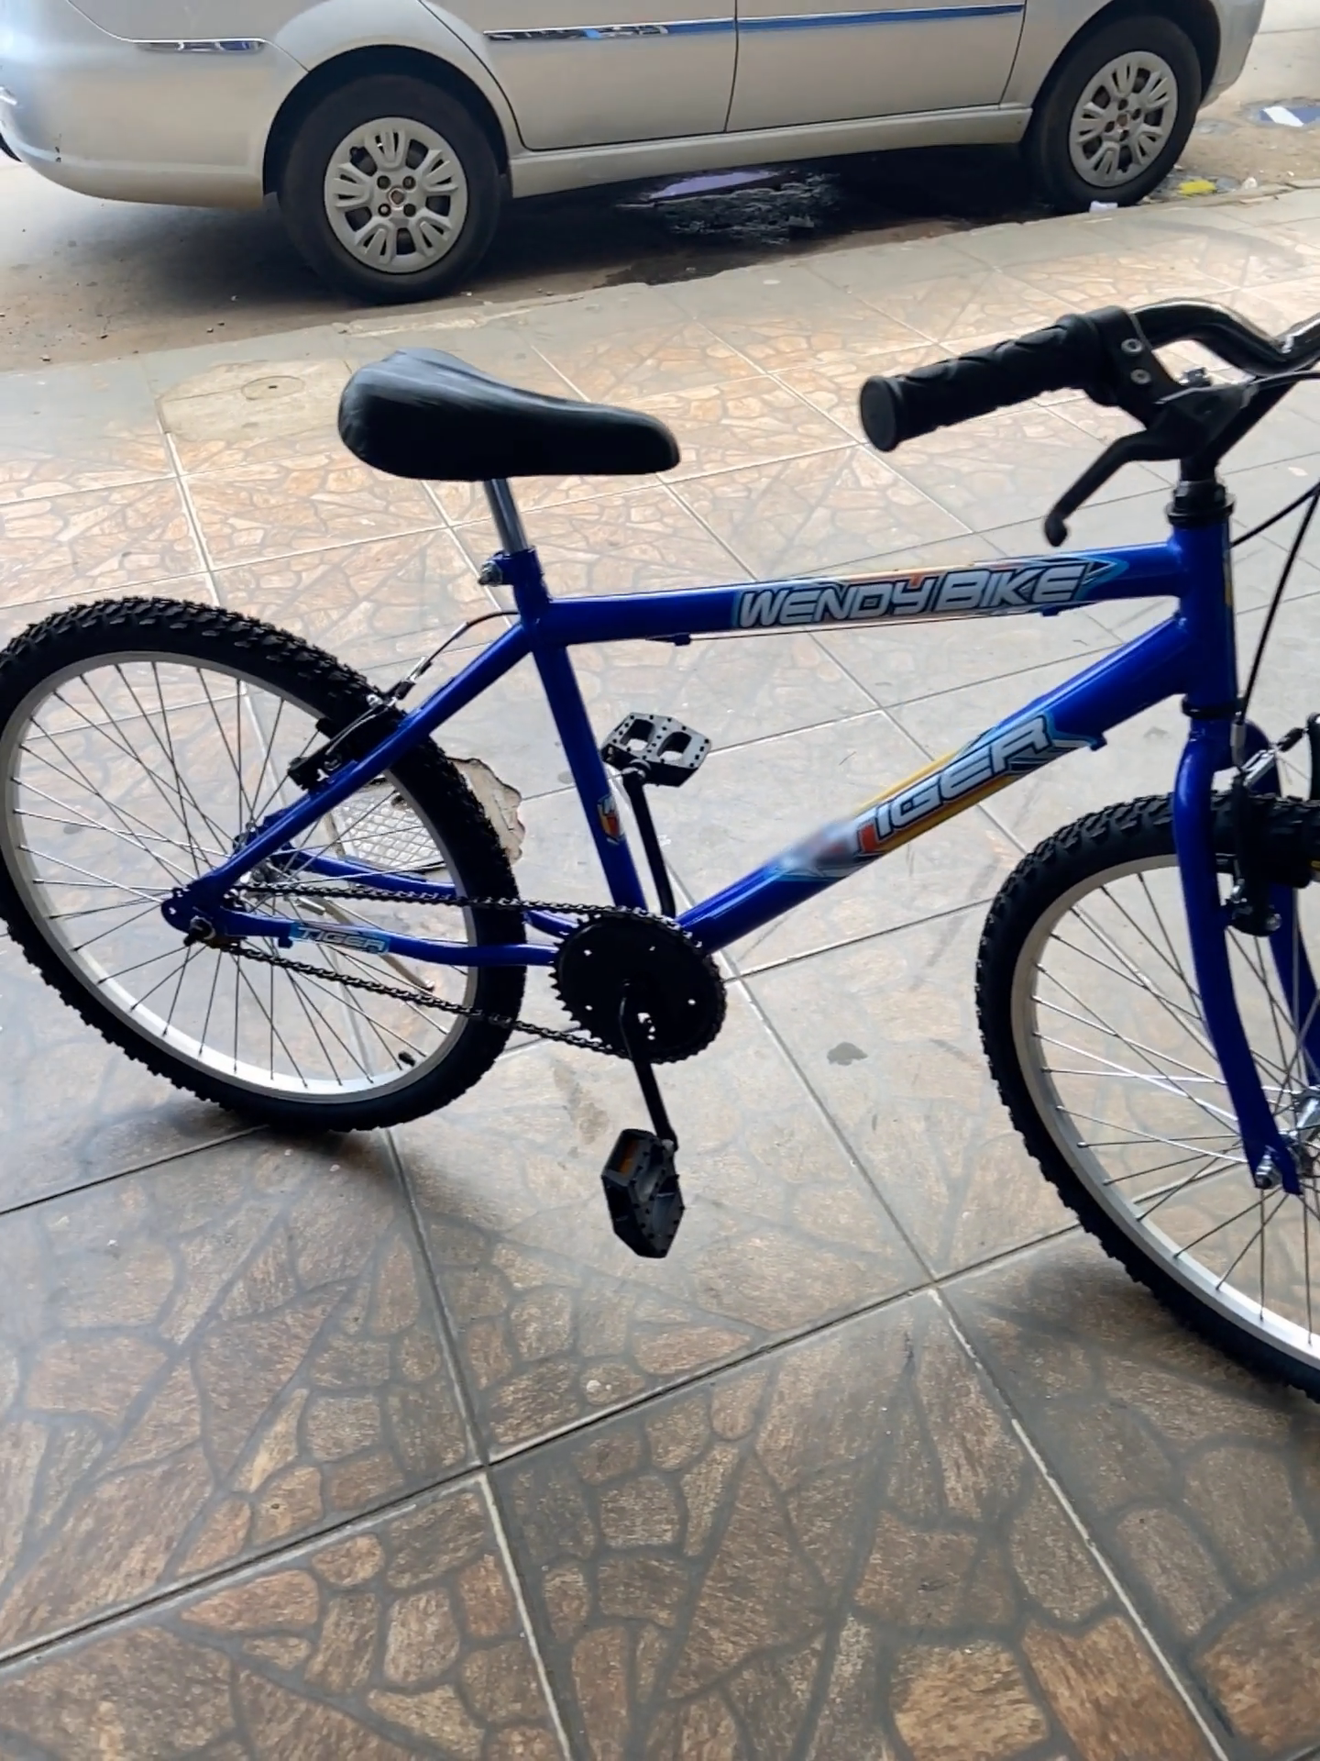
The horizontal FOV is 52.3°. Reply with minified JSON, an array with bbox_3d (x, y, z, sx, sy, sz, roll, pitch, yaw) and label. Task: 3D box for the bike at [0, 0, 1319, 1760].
[{"bbox_3d":[0.016,-0.043,1.011,1.487,0.923,0.626,11,45,19],"label":"bike"}]
